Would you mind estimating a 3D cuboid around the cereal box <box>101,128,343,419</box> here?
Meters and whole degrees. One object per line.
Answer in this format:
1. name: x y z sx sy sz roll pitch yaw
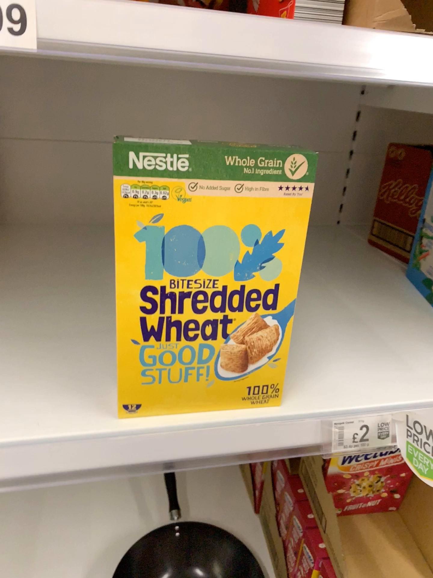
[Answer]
1. cereal box: -0.006 -0.010 0.463 0.210 0.278 0.070 -1 23 -12
